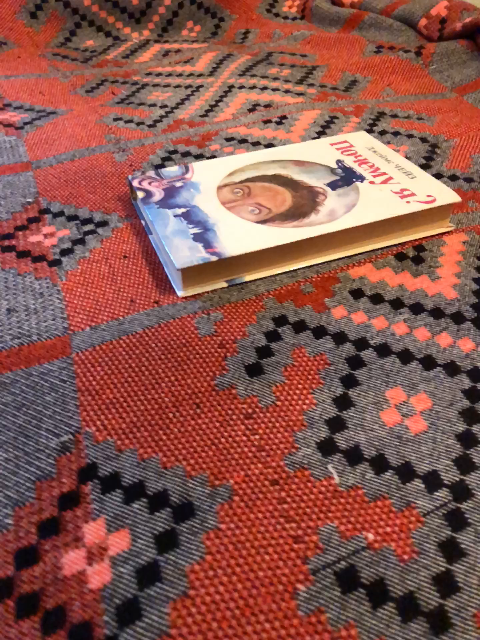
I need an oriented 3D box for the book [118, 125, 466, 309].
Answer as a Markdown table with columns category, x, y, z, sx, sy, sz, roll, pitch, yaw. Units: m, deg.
| category | x | y | z | sx | sy | sz | roll | pitch | yaw |
| --- | --- | --- | --- | --- | --- | --- | --- | --- | --- |
| book | 0.030 | -0.085 | 0.380 | 0.204 | 0.029 | 0.134 | -16 | 43 | -15 |
